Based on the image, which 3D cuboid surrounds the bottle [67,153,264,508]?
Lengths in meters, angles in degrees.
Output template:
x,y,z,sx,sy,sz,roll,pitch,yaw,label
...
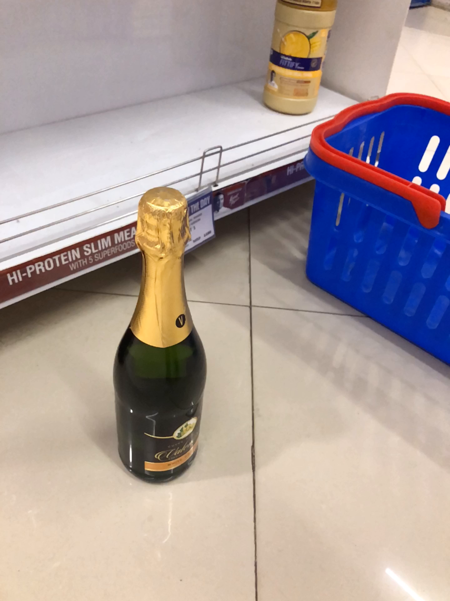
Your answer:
x,y,z,sx,sy,sz,roll,pitch,yaw,label
-0.053,0.043,0.422,0.090,0.298,0.091,4,42,-4,bottle
